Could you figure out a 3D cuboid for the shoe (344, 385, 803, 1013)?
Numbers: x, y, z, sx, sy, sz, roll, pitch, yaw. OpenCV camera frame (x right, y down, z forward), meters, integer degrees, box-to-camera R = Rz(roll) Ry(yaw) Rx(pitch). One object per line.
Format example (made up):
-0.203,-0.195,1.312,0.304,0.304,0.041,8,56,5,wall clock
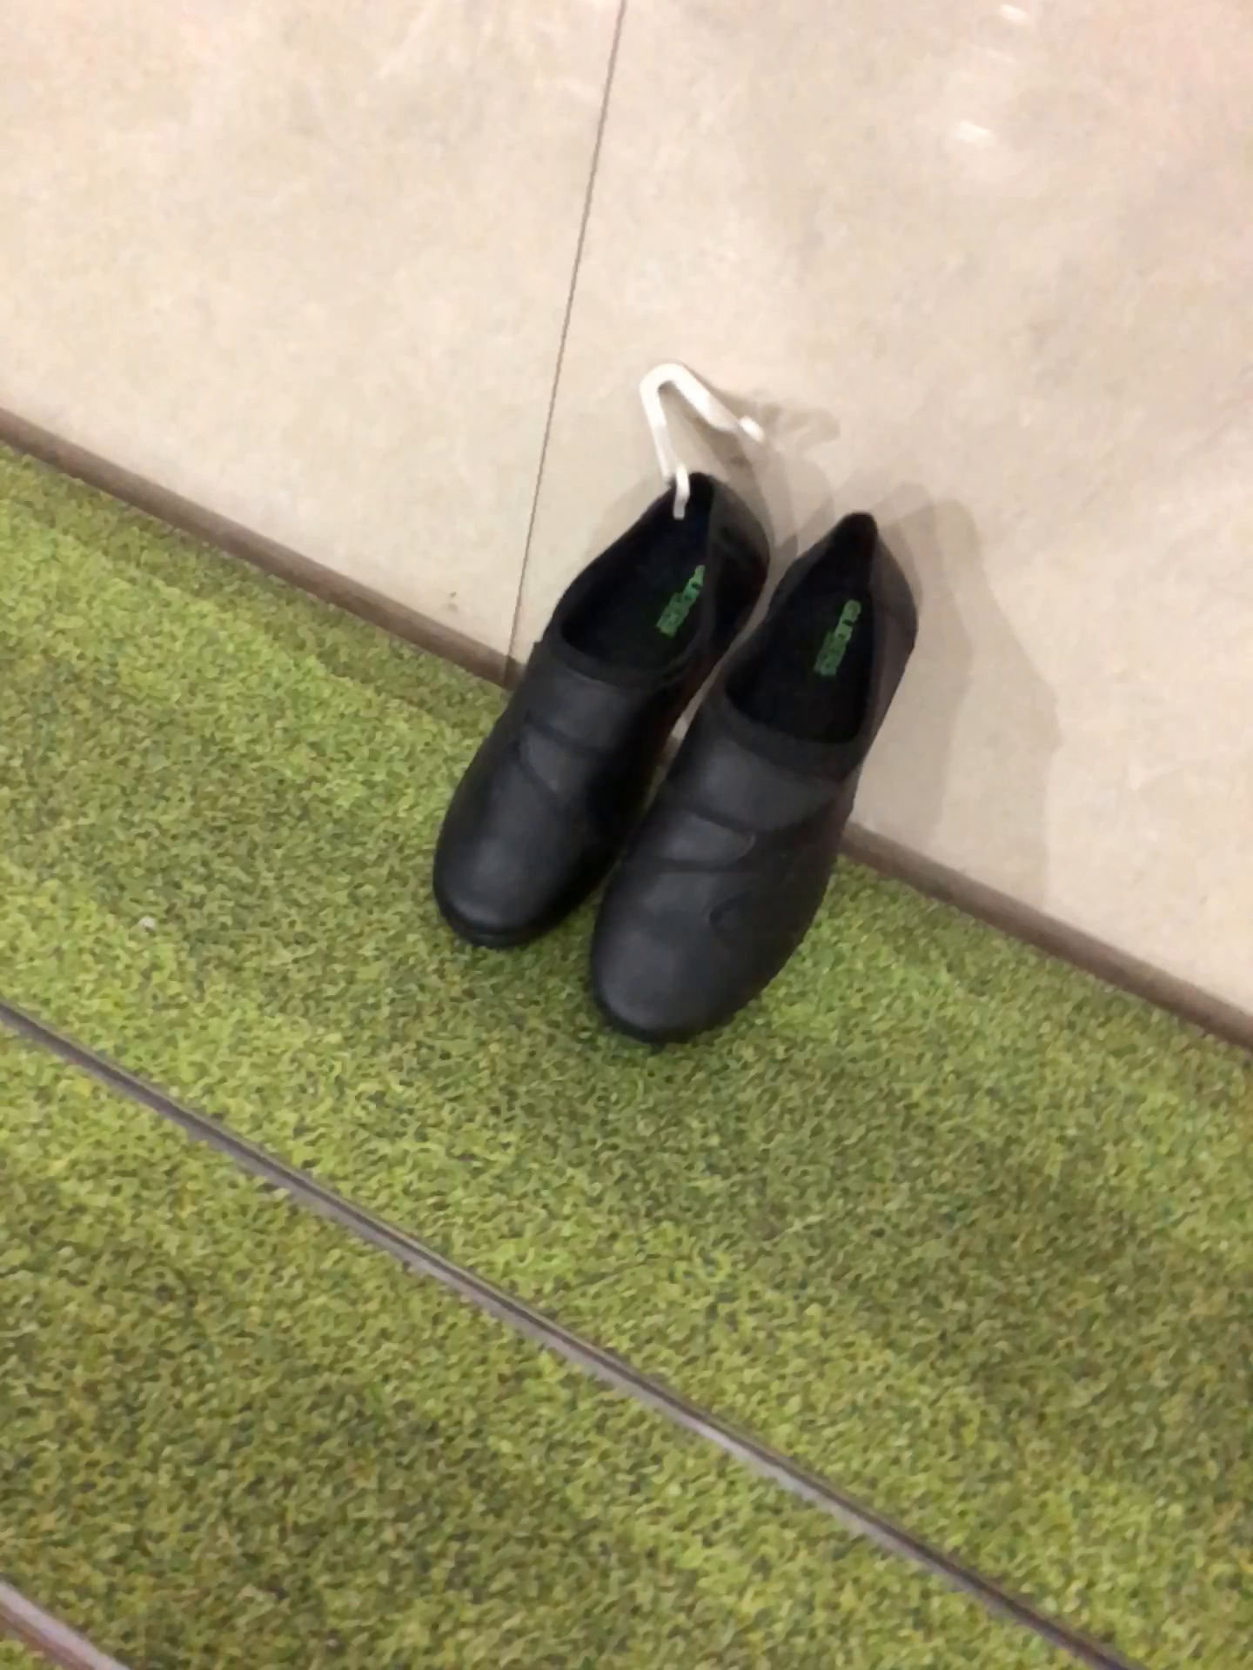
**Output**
-0.018,-0.052,0.580,0.080,0.081,0.236,28,94,10,shoe

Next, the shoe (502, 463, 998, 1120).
0.051,-0.015,0.565,0.090,0.081,0.236,28,94,10,shoe
